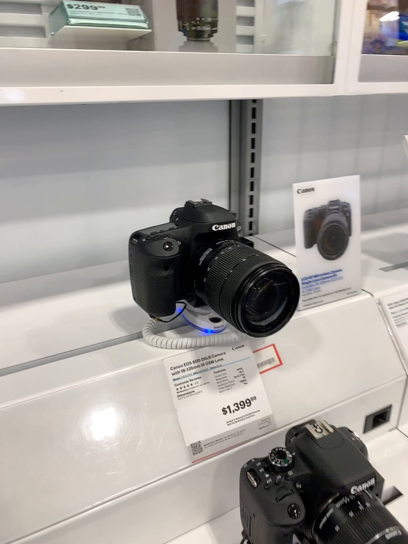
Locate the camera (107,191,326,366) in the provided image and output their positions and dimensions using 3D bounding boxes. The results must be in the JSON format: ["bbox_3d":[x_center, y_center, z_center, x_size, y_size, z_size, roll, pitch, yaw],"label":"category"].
[{"bbox_3d":[0.005,-0.011,0.436,0.150,0.100,0.171,-14,25,-27],"label":"camera"}]
